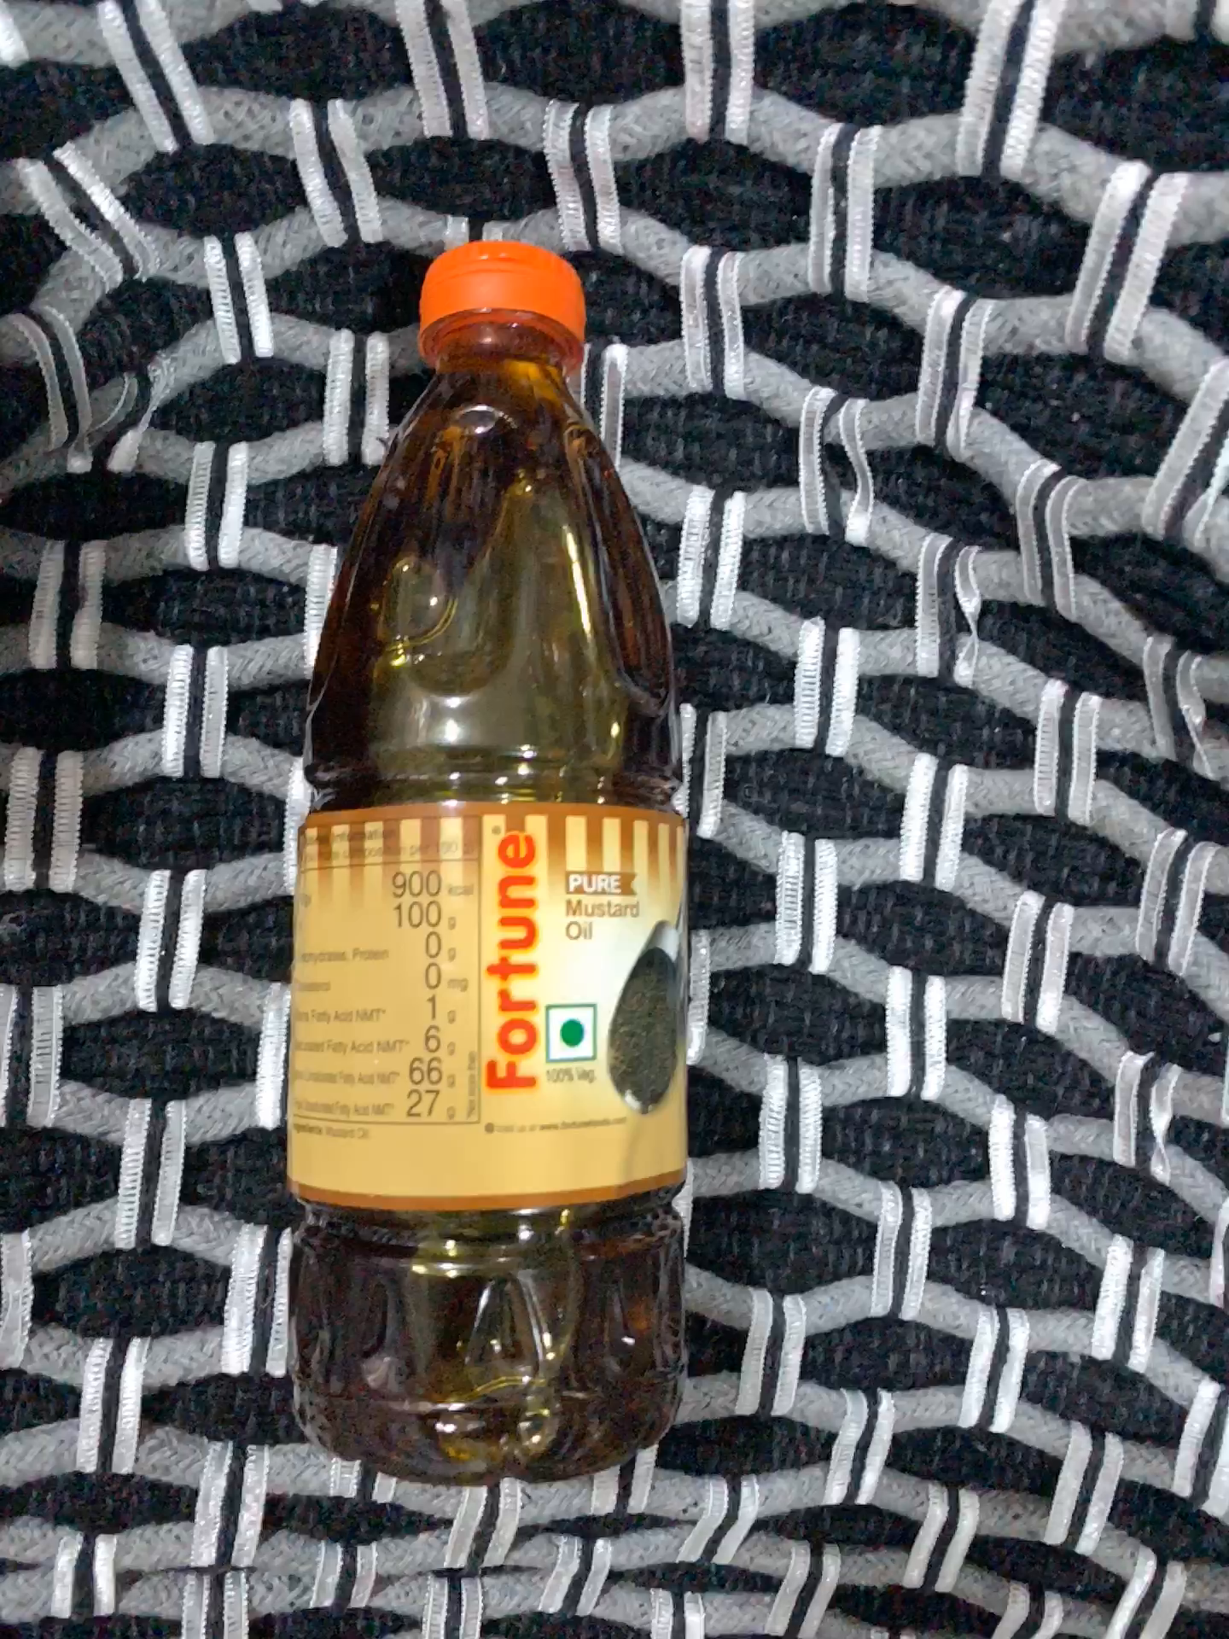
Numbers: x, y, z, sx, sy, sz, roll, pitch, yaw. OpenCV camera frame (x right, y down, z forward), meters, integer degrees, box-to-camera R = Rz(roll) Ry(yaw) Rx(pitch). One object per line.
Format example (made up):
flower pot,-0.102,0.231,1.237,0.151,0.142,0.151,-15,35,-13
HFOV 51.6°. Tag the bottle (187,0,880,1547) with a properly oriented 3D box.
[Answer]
bottle,-0.014,-0.011,0.226,0.080,0.080,0.220,-9,78,37
